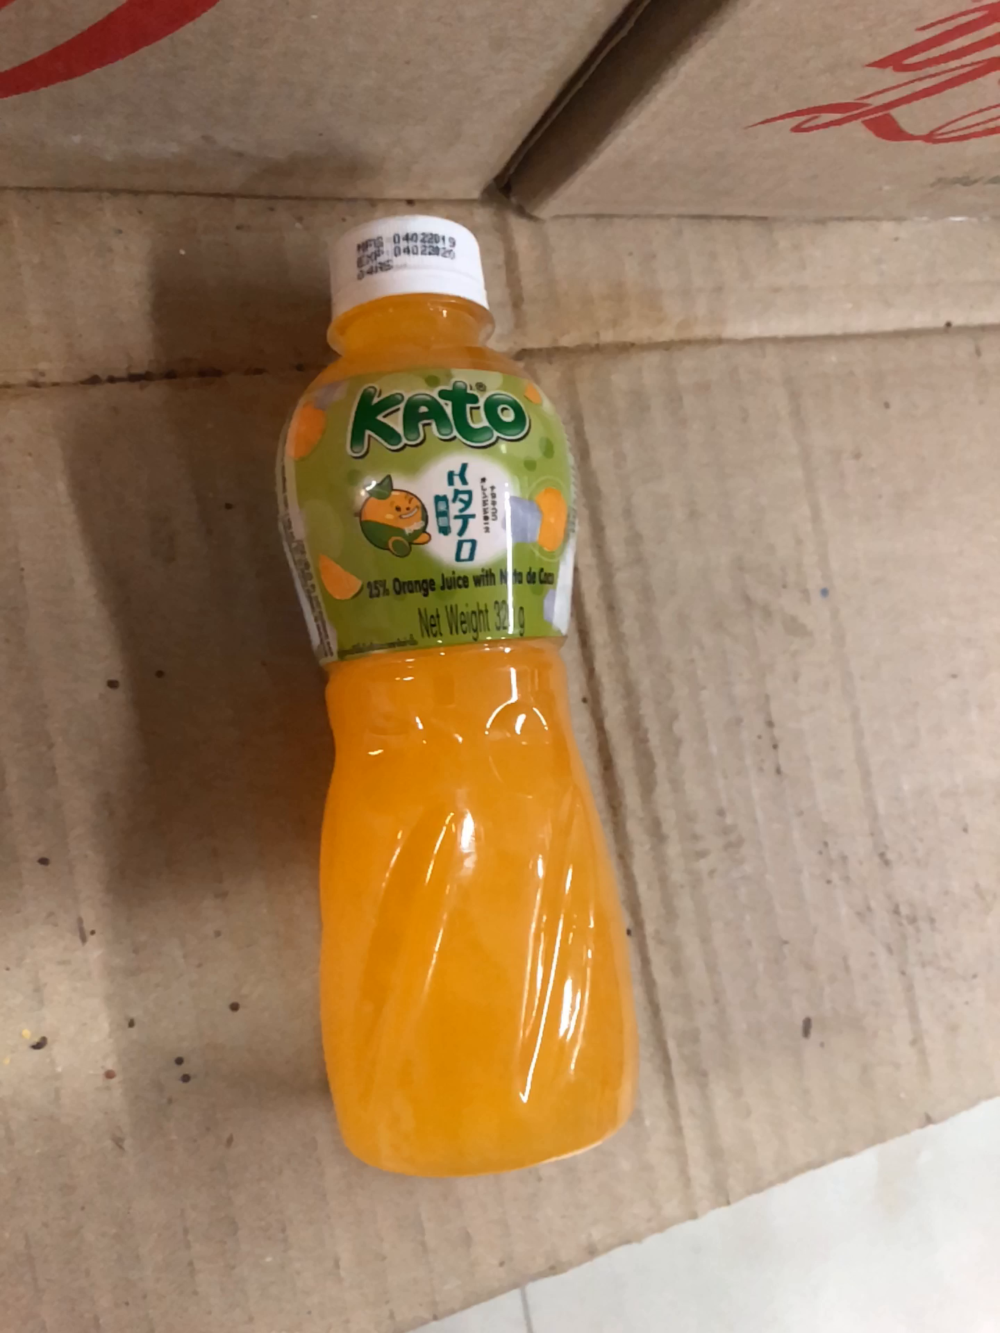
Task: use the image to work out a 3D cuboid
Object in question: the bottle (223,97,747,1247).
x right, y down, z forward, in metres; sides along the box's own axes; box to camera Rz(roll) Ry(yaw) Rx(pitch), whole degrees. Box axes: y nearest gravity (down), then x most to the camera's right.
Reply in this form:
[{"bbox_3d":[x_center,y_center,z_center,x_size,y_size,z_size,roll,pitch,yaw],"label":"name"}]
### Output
[{"bbox_3d":[-0.008,-0.002,0.224,0.070,0.060,0.190,-4,86,-21],"label":"bottle"}]
